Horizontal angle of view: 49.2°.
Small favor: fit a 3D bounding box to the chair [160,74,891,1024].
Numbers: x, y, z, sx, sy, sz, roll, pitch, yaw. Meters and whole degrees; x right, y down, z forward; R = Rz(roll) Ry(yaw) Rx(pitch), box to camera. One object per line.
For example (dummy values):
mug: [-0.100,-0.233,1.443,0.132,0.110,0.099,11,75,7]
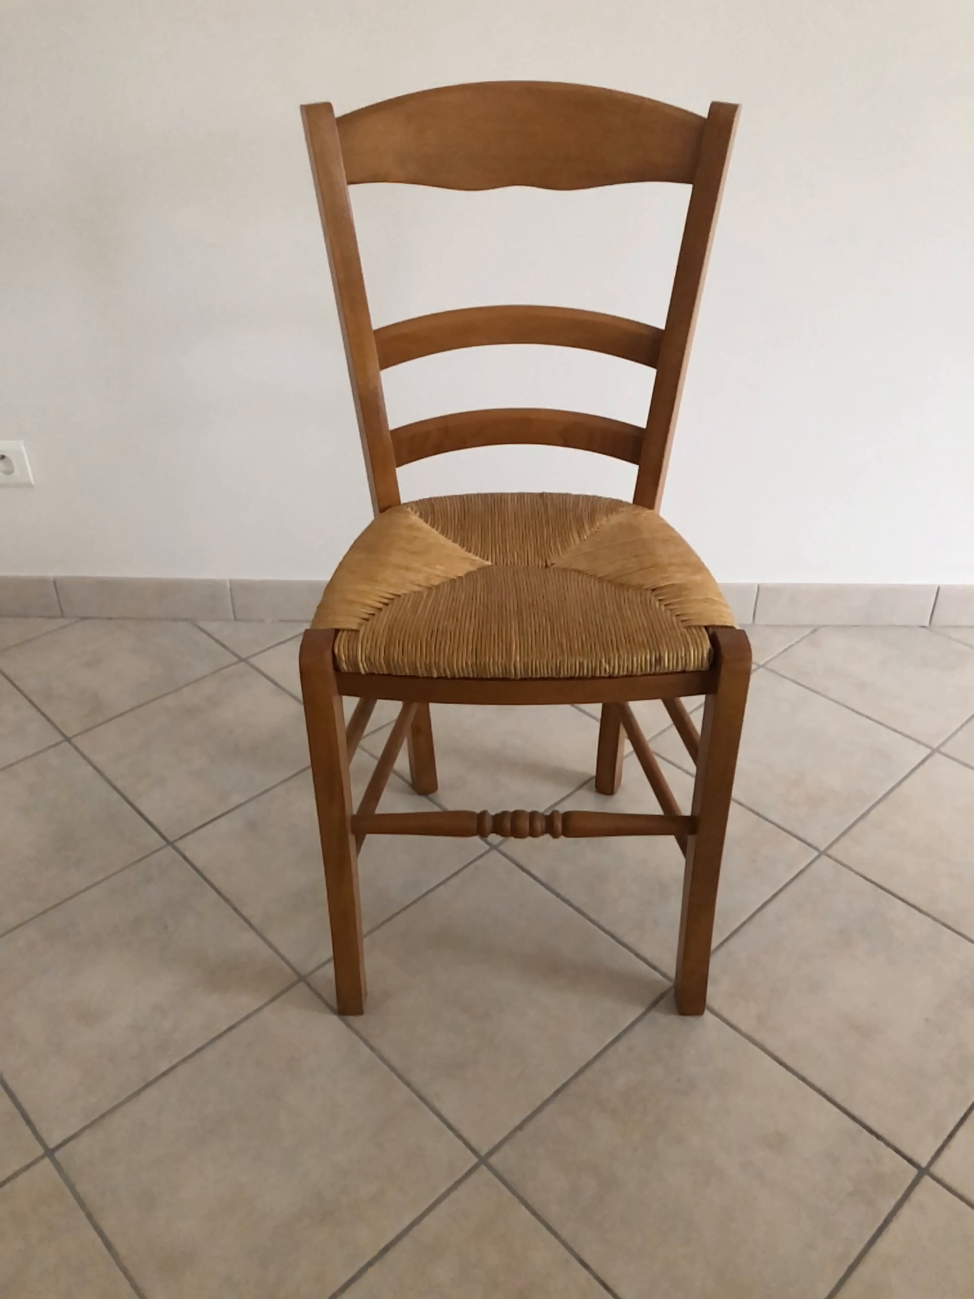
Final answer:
chair: [0.030,-0.095,1.090,0.450,0.825,0.503,0,33,1]
